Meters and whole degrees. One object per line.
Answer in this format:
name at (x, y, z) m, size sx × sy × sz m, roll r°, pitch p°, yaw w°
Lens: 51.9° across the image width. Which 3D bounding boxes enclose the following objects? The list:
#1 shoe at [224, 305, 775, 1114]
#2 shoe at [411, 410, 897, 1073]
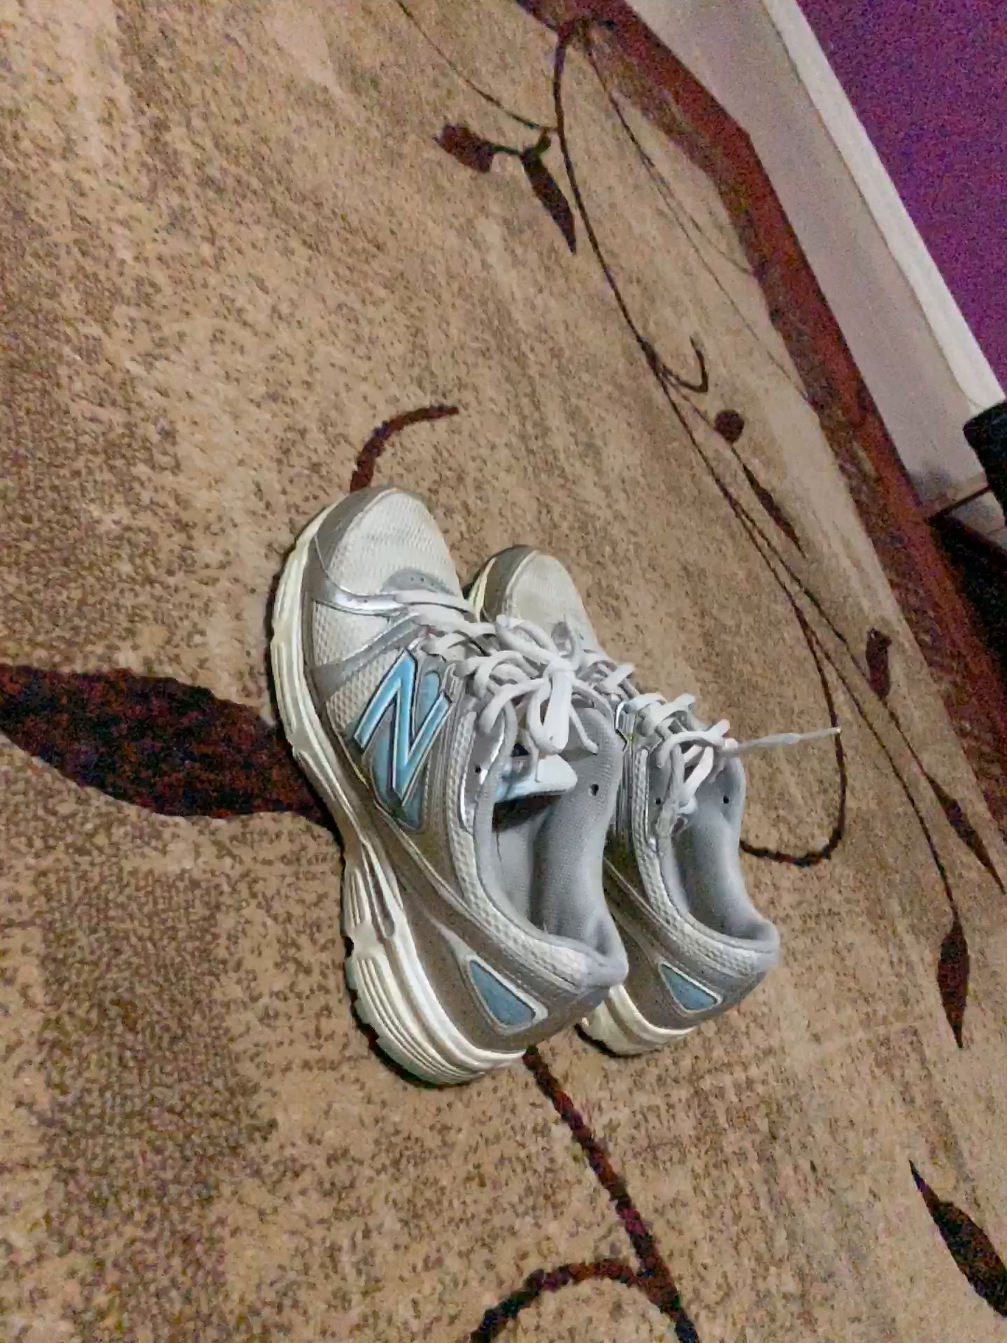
shoe at (-0.013, 0.014, 0.435) m, size 0.111 × 0.124 × 0.283 m, roll 10°, pitch 57°, yaw -49°
shoe at (0.066, 0.032, 0.522) m, size 0.104 × 0.124 × 0.283 m, roll 8°, pitch 59°, yaw -50°
